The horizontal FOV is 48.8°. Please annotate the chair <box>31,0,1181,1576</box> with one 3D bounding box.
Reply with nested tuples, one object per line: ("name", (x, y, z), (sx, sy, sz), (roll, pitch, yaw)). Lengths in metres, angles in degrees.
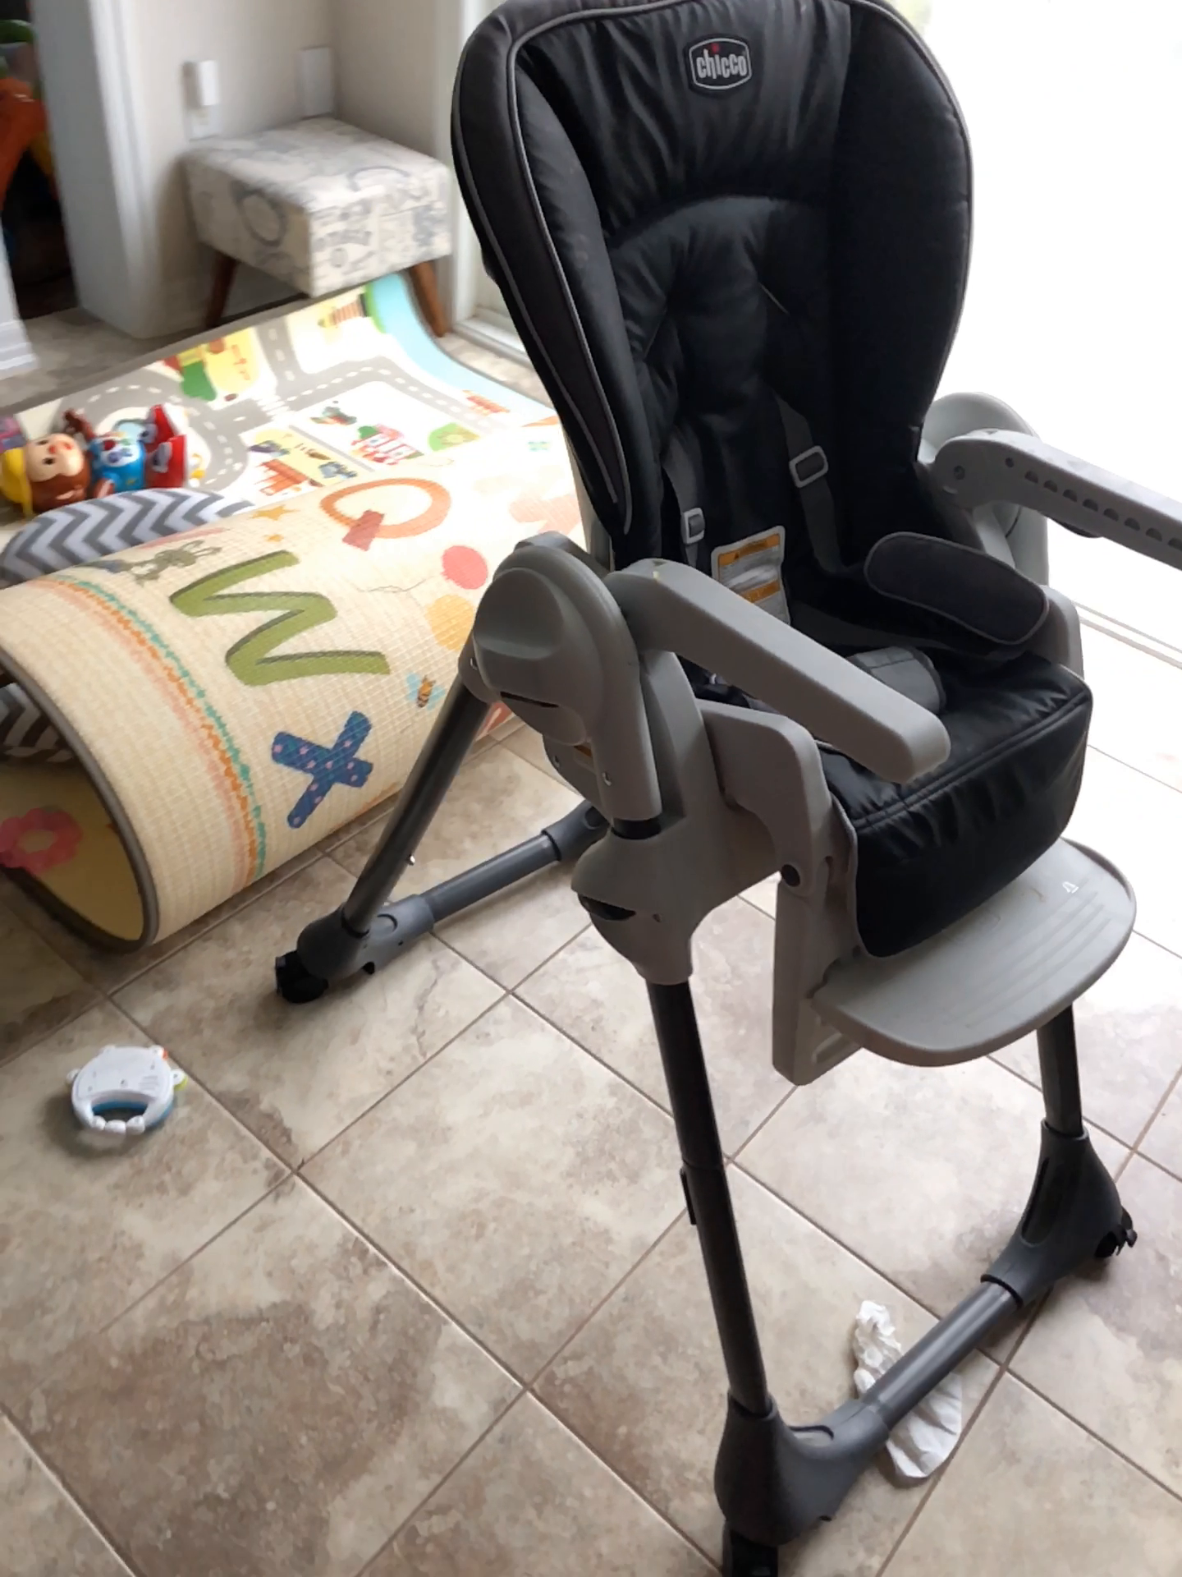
("chair", (0.125, -0.021, 1.103), (0.651, 0.996, 0.882), (-26, 51, -32))
